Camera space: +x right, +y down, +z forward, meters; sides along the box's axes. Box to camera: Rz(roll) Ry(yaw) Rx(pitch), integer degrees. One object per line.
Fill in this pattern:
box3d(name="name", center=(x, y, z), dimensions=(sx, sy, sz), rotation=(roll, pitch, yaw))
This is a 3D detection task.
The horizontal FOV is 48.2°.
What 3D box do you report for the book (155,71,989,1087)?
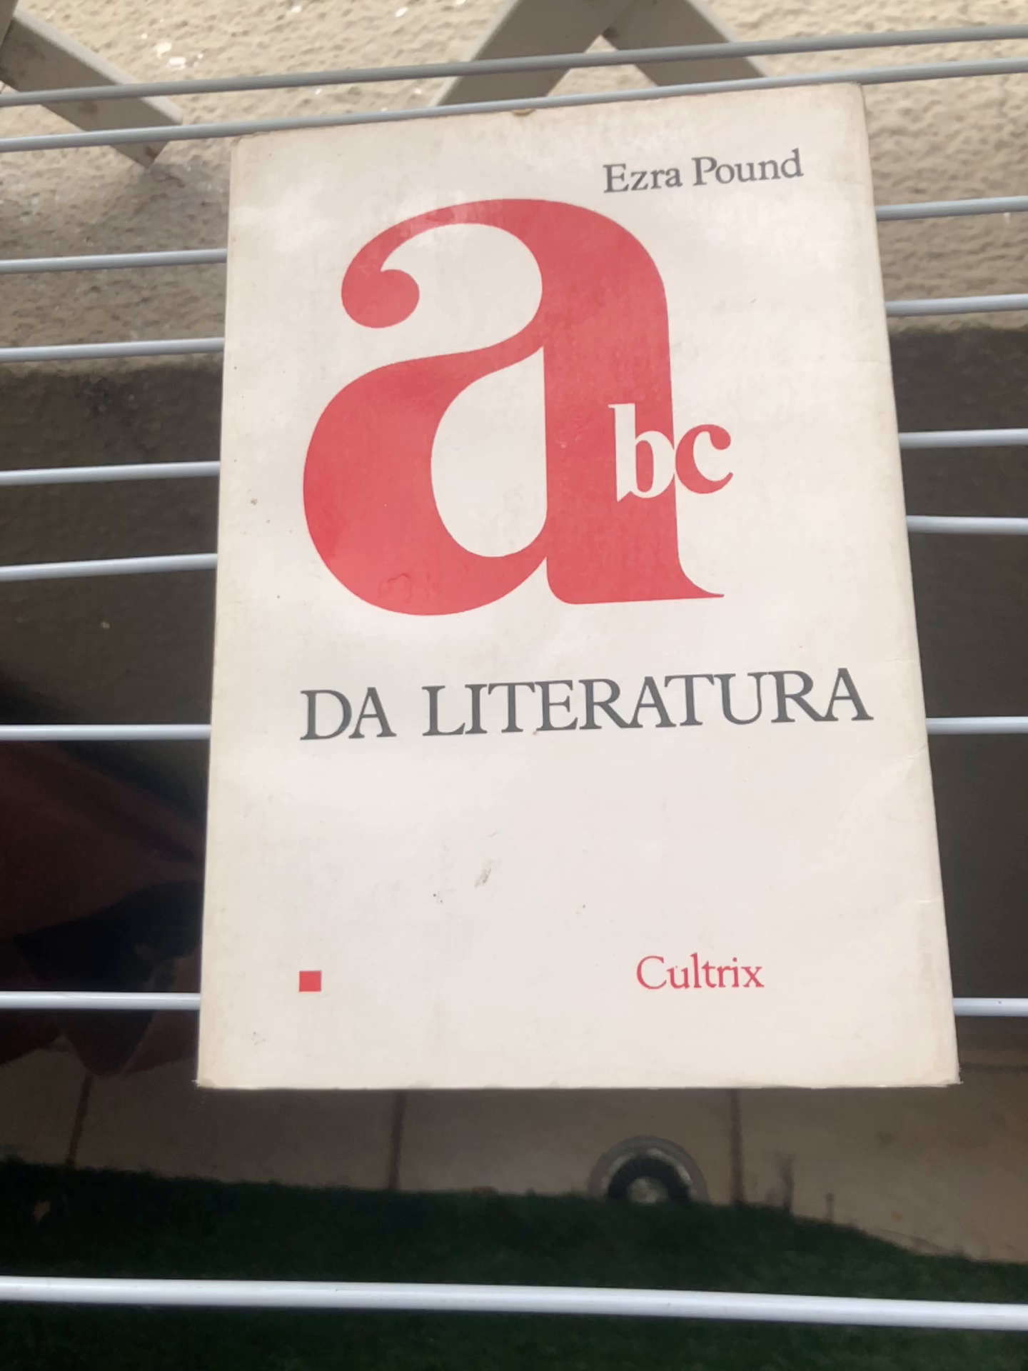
box3d(name="book", center=(0.006, -0.023, 0.220), dimensions=(0.140, 0.017, 0.188), rotation=(-2, 78, 6))
